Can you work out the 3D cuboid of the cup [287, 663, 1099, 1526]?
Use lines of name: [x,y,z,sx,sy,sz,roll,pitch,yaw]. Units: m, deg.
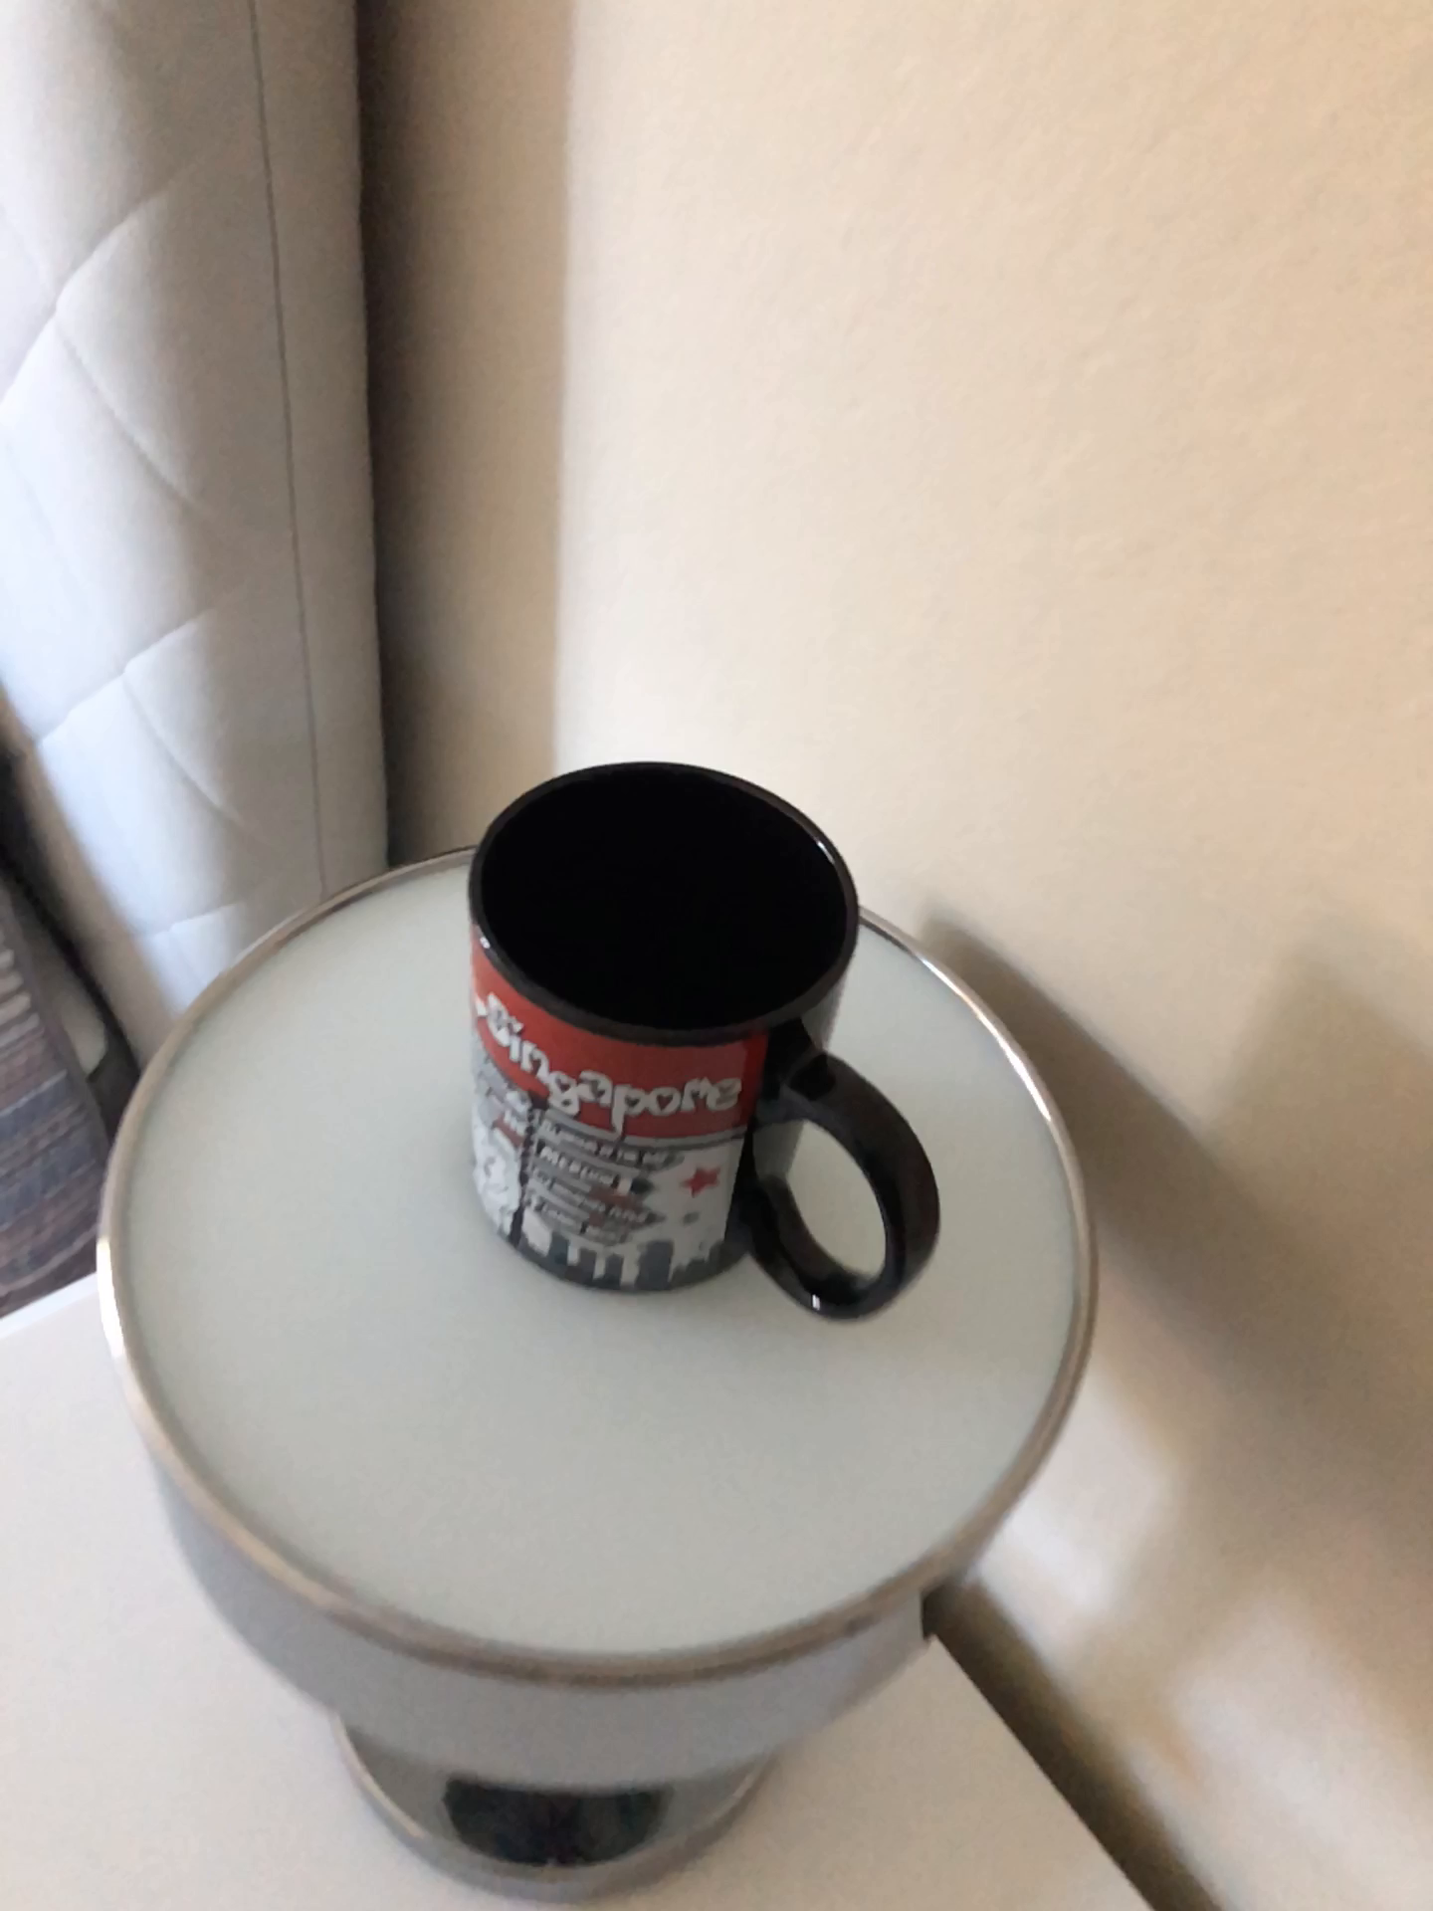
cup: [-0.010,0.026,0.342,0.130,0.100,0.090,36,52,23]
